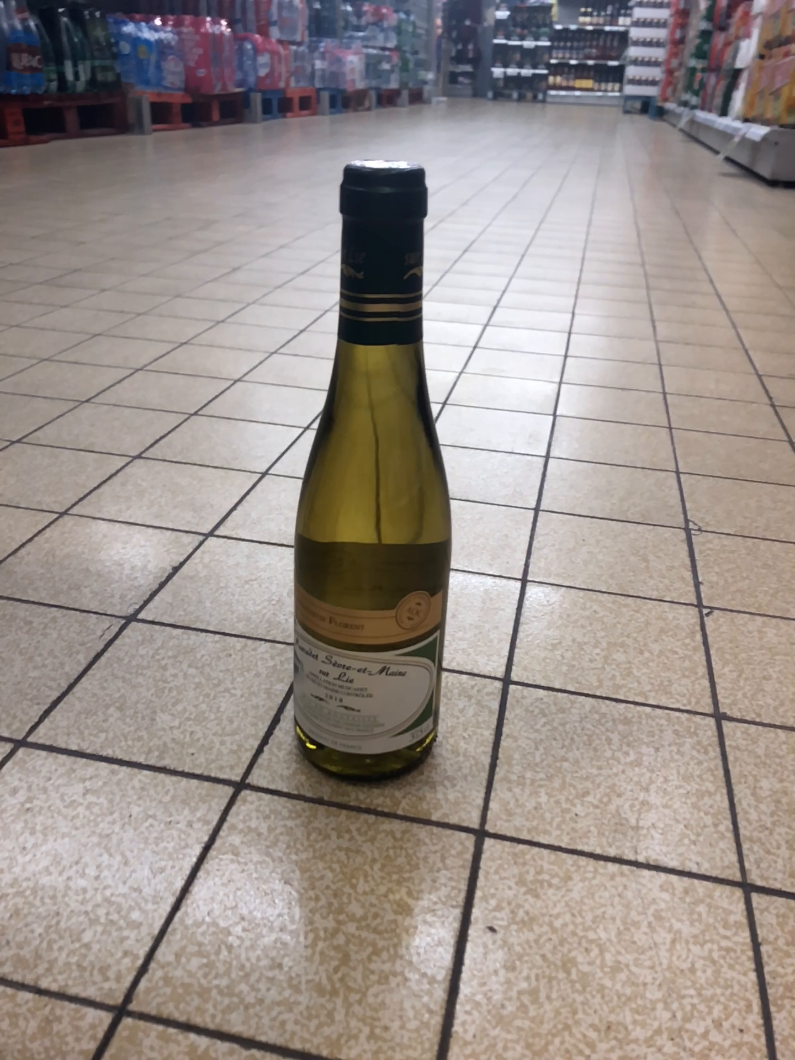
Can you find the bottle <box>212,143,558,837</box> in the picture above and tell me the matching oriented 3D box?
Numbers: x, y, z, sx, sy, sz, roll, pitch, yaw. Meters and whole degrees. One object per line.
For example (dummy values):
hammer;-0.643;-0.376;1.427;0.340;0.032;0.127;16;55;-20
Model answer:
bottle;-0.007;-0.014;0.334;0.080;0.239;0.080;2;26;-1
